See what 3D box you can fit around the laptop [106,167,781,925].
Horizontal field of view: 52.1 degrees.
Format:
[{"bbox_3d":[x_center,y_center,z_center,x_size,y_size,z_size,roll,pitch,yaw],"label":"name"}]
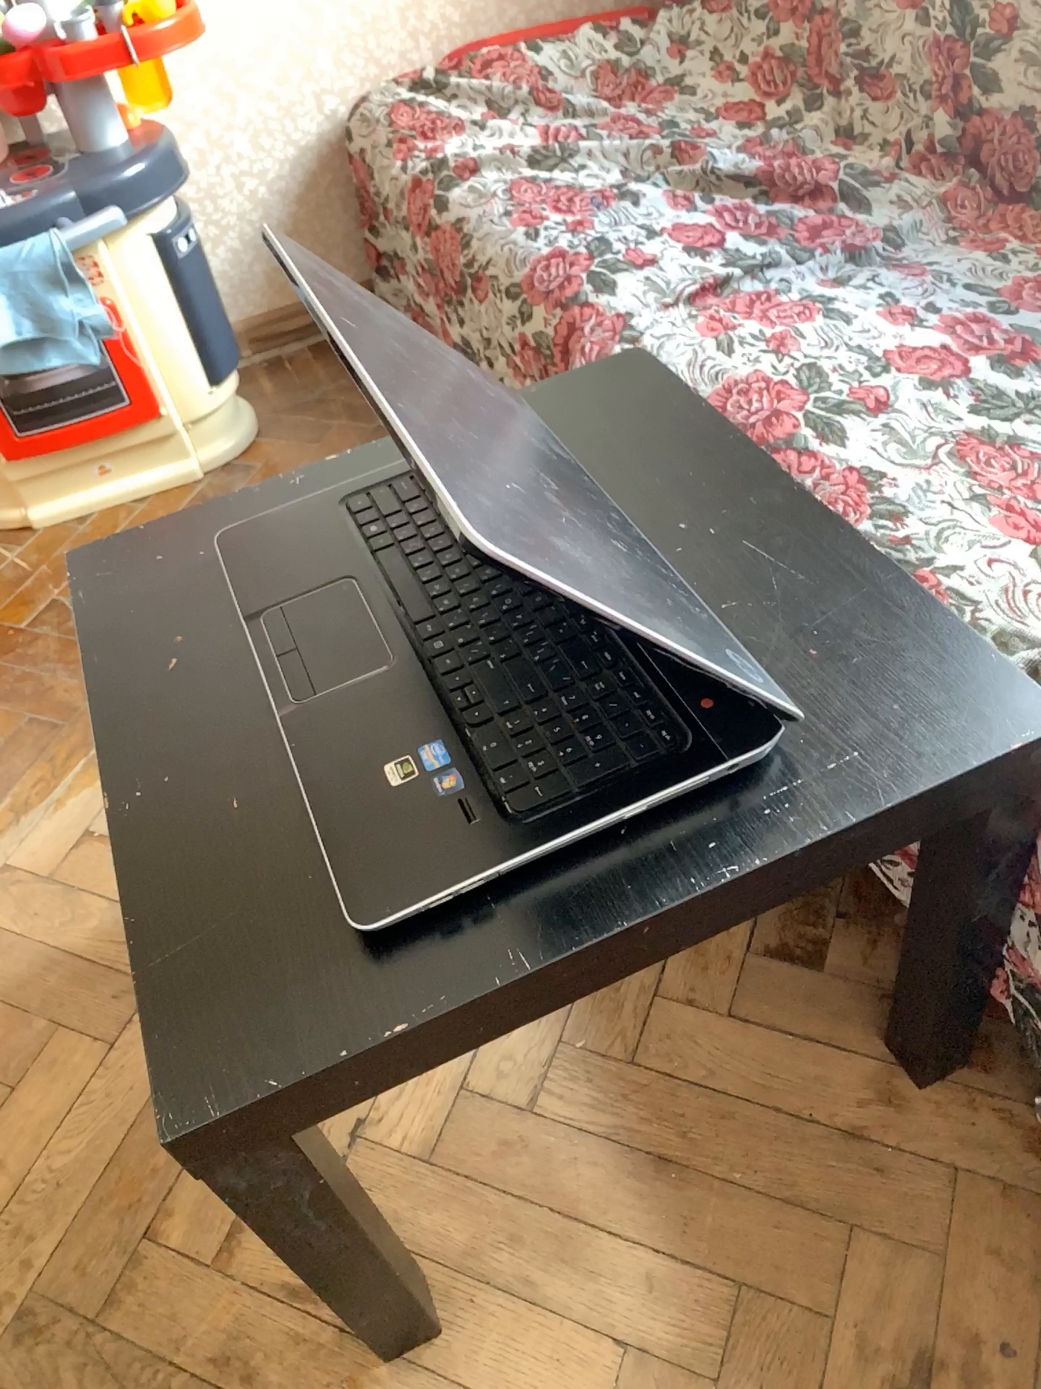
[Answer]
[{"bbox_3d":[-0.066,-0.123,0.655,0.256,0.201,0.407,-23,46,-9],"label":"laptop"}]
